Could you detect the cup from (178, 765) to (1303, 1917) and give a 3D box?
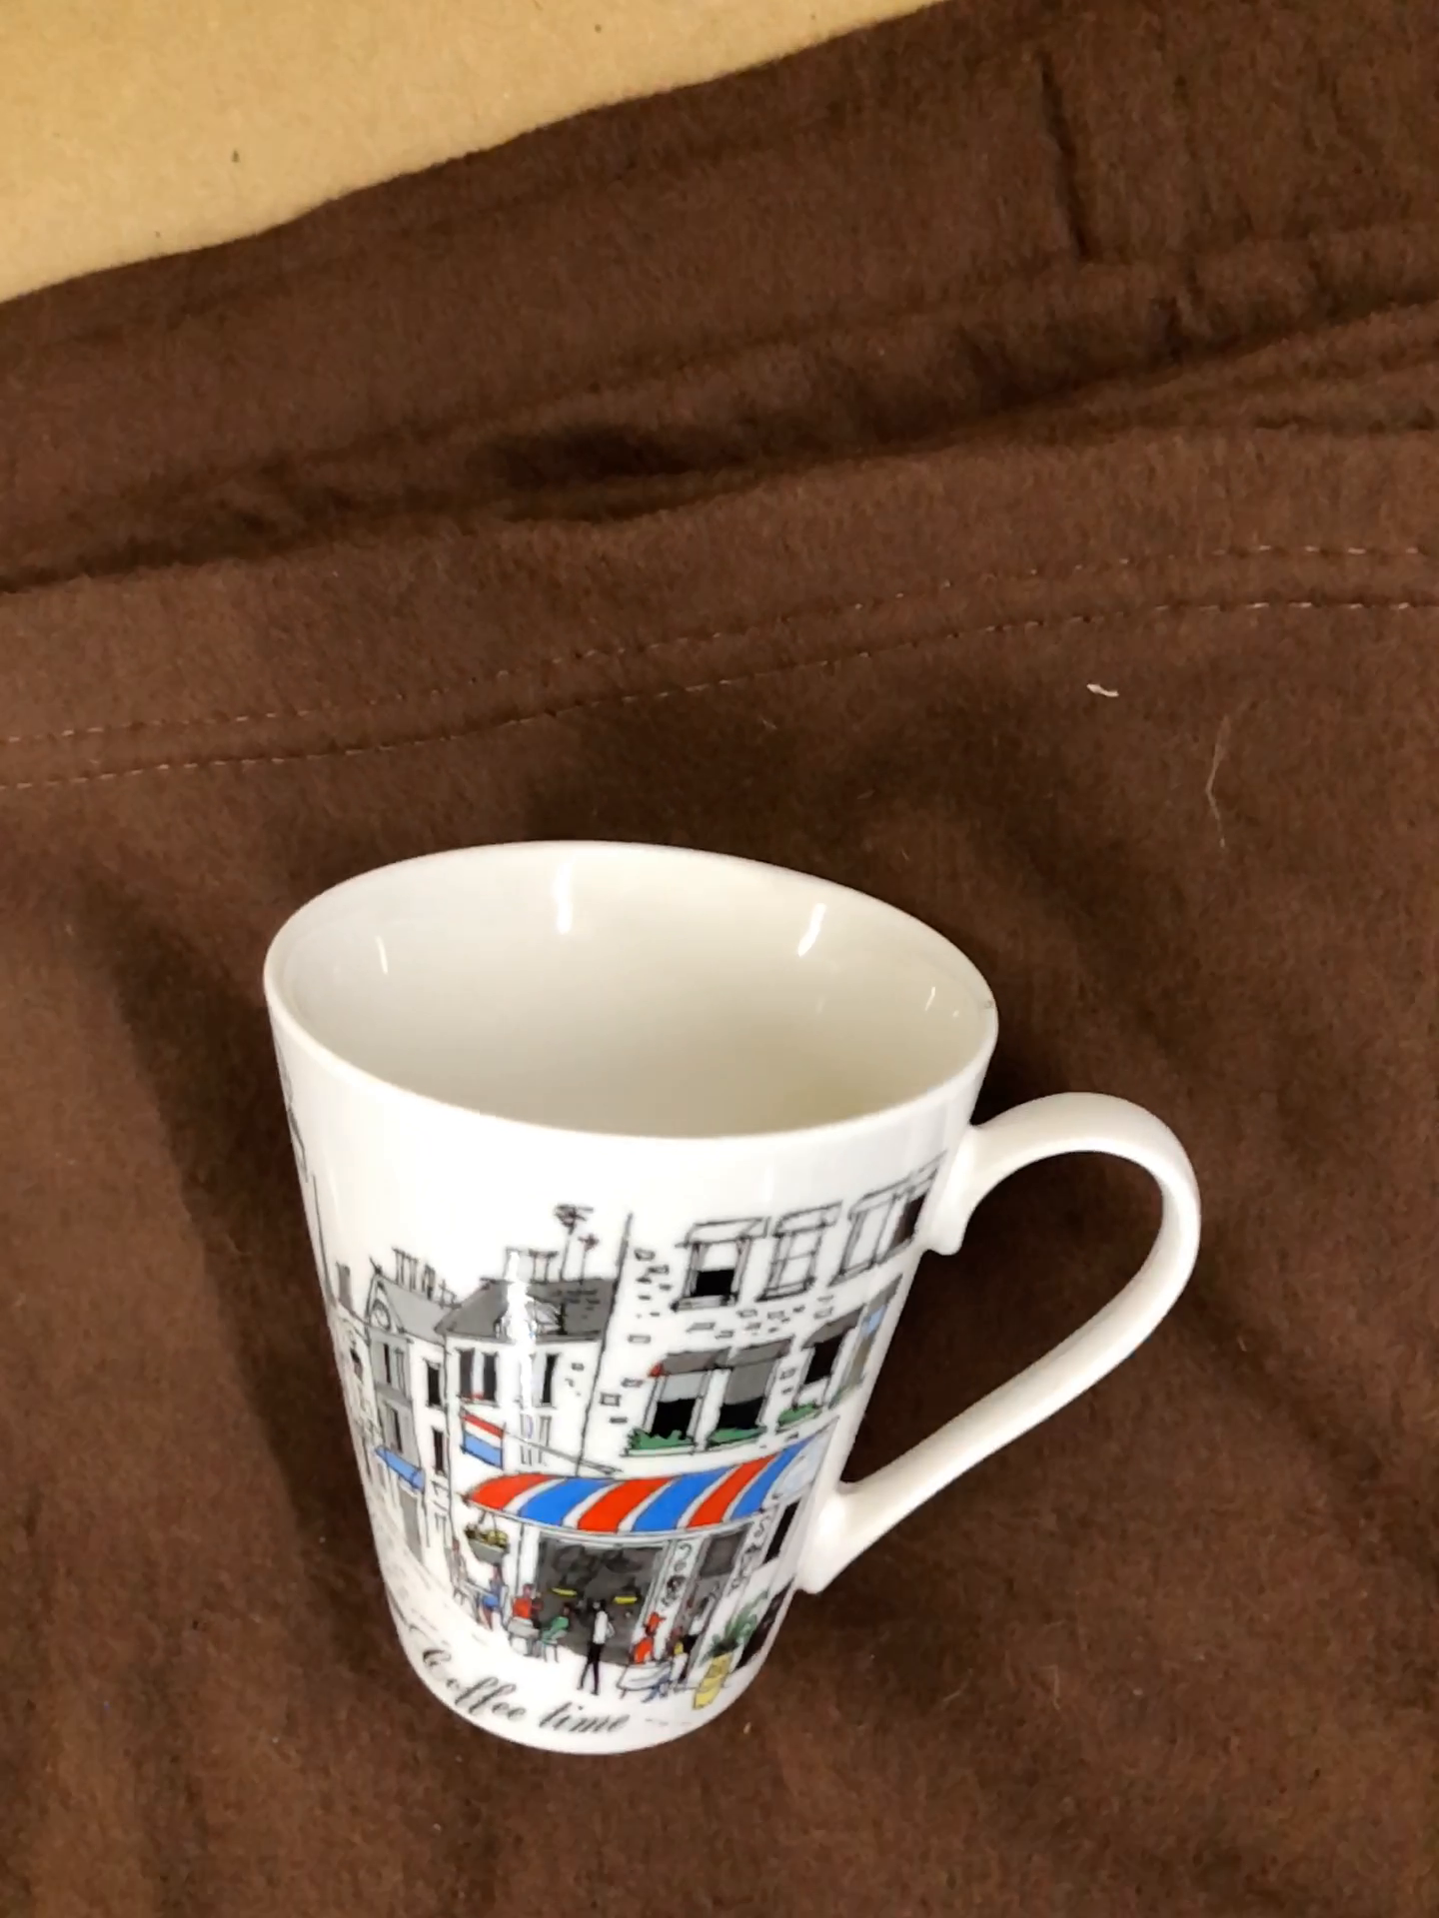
[{"bbox_3d":[0.002,0.046,0.211,0.110,0.080,0.110,4,111,11],"label":"cup"}]
